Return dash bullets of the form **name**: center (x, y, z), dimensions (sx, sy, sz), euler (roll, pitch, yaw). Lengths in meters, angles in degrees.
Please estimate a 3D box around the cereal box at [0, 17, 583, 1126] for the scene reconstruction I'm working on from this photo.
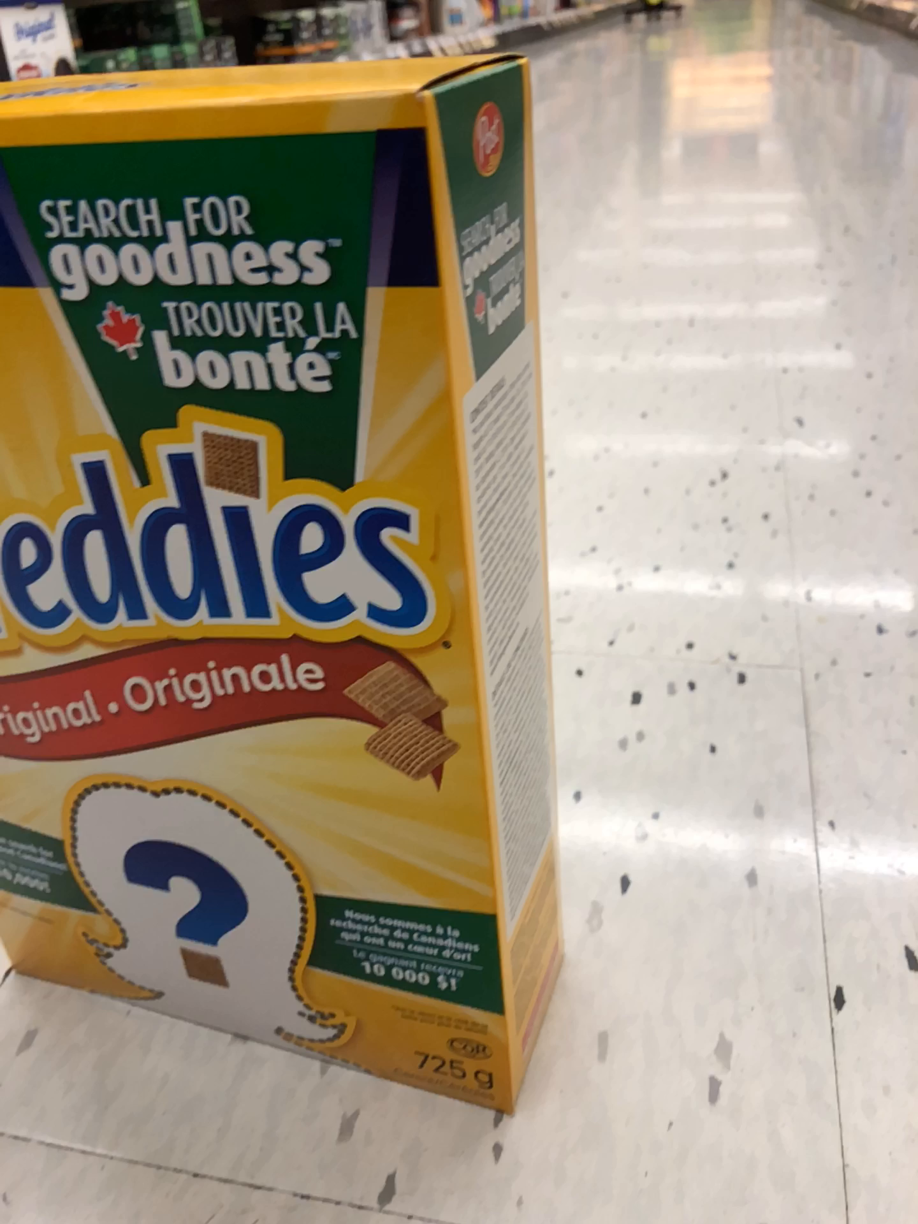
- **cereal box**: center (-0.077, 0.011, 0.316), dimensions (0.210, 0.318, 0.070), euler (6, 36, 18)
